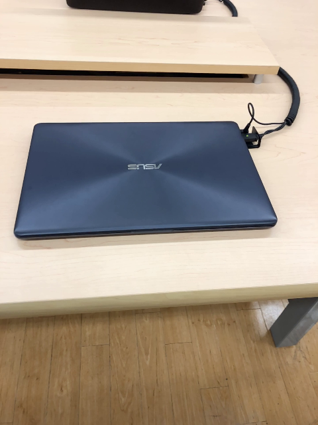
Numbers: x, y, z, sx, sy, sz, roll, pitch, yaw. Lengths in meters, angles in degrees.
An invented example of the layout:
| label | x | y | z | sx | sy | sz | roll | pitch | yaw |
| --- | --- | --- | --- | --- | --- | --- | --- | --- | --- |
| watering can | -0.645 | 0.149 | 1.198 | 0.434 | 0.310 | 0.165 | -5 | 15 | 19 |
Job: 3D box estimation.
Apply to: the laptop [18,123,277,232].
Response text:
| label | x | y | z | sx | sy | sz | roll | pitch | yaw |
| --- | --- | --- | --- | --- | --- | --- | --- | --- | --- |
| laptop | -0.023 | -0.068 | 0.538 | 0.345 | 0.002 | 0.229 | -3 | 49 | -7 |
